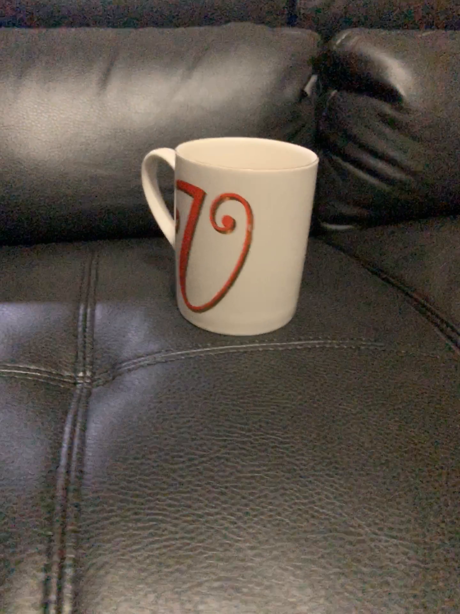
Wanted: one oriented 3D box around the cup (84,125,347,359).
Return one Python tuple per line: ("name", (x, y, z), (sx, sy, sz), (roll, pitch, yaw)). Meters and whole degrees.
("cup", (-0.013, -0.057, 0.328), (0.139, 0.106, 0.098), (25, 35, 36))
